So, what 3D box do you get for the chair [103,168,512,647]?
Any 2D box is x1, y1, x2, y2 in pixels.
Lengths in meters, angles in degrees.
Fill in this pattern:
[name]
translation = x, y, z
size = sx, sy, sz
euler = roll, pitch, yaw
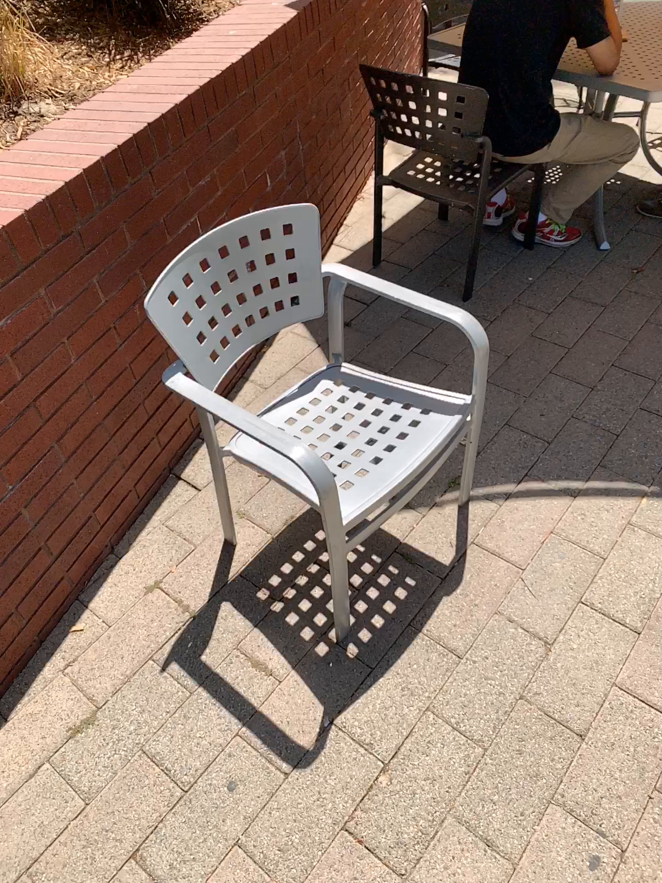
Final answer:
[chair]
translation = -0.004, -0.079, 1.481
size = 0.493, 0.718, 0.558
euler = 26, 53, 30
